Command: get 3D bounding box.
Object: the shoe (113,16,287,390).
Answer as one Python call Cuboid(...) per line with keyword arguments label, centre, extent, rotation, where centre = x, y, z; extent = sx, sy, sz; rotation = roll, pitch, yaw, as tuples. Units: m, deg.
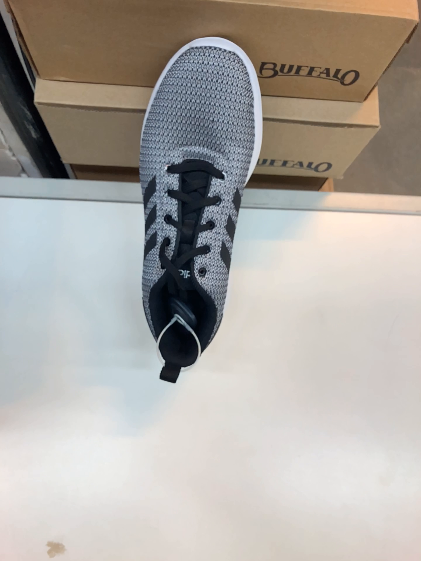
Cuboid(label="shoe", centre=(-0.015, -0.058, 0.407), extent=(0.112, 0.099, 0.281), rotation=(6, 111, 1))
